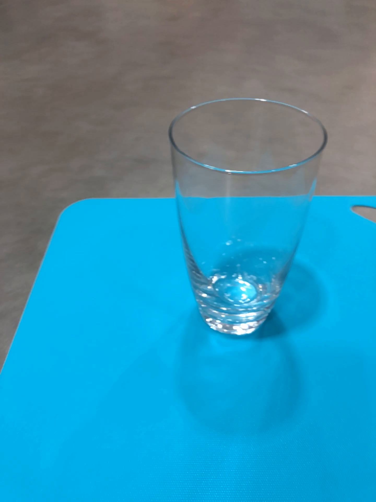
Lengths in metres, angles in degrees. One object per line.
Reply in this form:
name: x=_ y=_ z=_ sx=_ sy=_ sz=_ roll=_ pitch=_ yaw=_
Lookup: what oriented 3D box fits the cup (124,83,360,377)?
cup: x=0.030 y=-0.014 z=0.303 sx=0.100 sy=0.159 sz=0.100 roll=-1 pitch=42 yaw=1
